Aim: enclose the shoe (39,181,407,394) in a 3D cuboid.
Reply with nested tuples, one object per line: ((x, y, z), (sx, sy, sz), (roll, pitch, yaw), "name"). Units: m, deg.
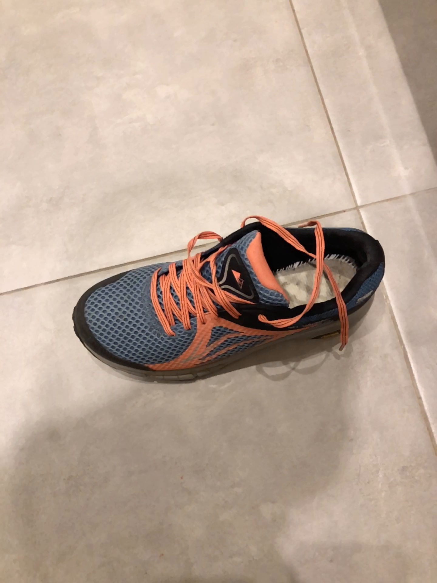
((0.001, 0.003, 0.393), (0.250, 0.090, 0.110), (-11, 78, -1), "shoe")
